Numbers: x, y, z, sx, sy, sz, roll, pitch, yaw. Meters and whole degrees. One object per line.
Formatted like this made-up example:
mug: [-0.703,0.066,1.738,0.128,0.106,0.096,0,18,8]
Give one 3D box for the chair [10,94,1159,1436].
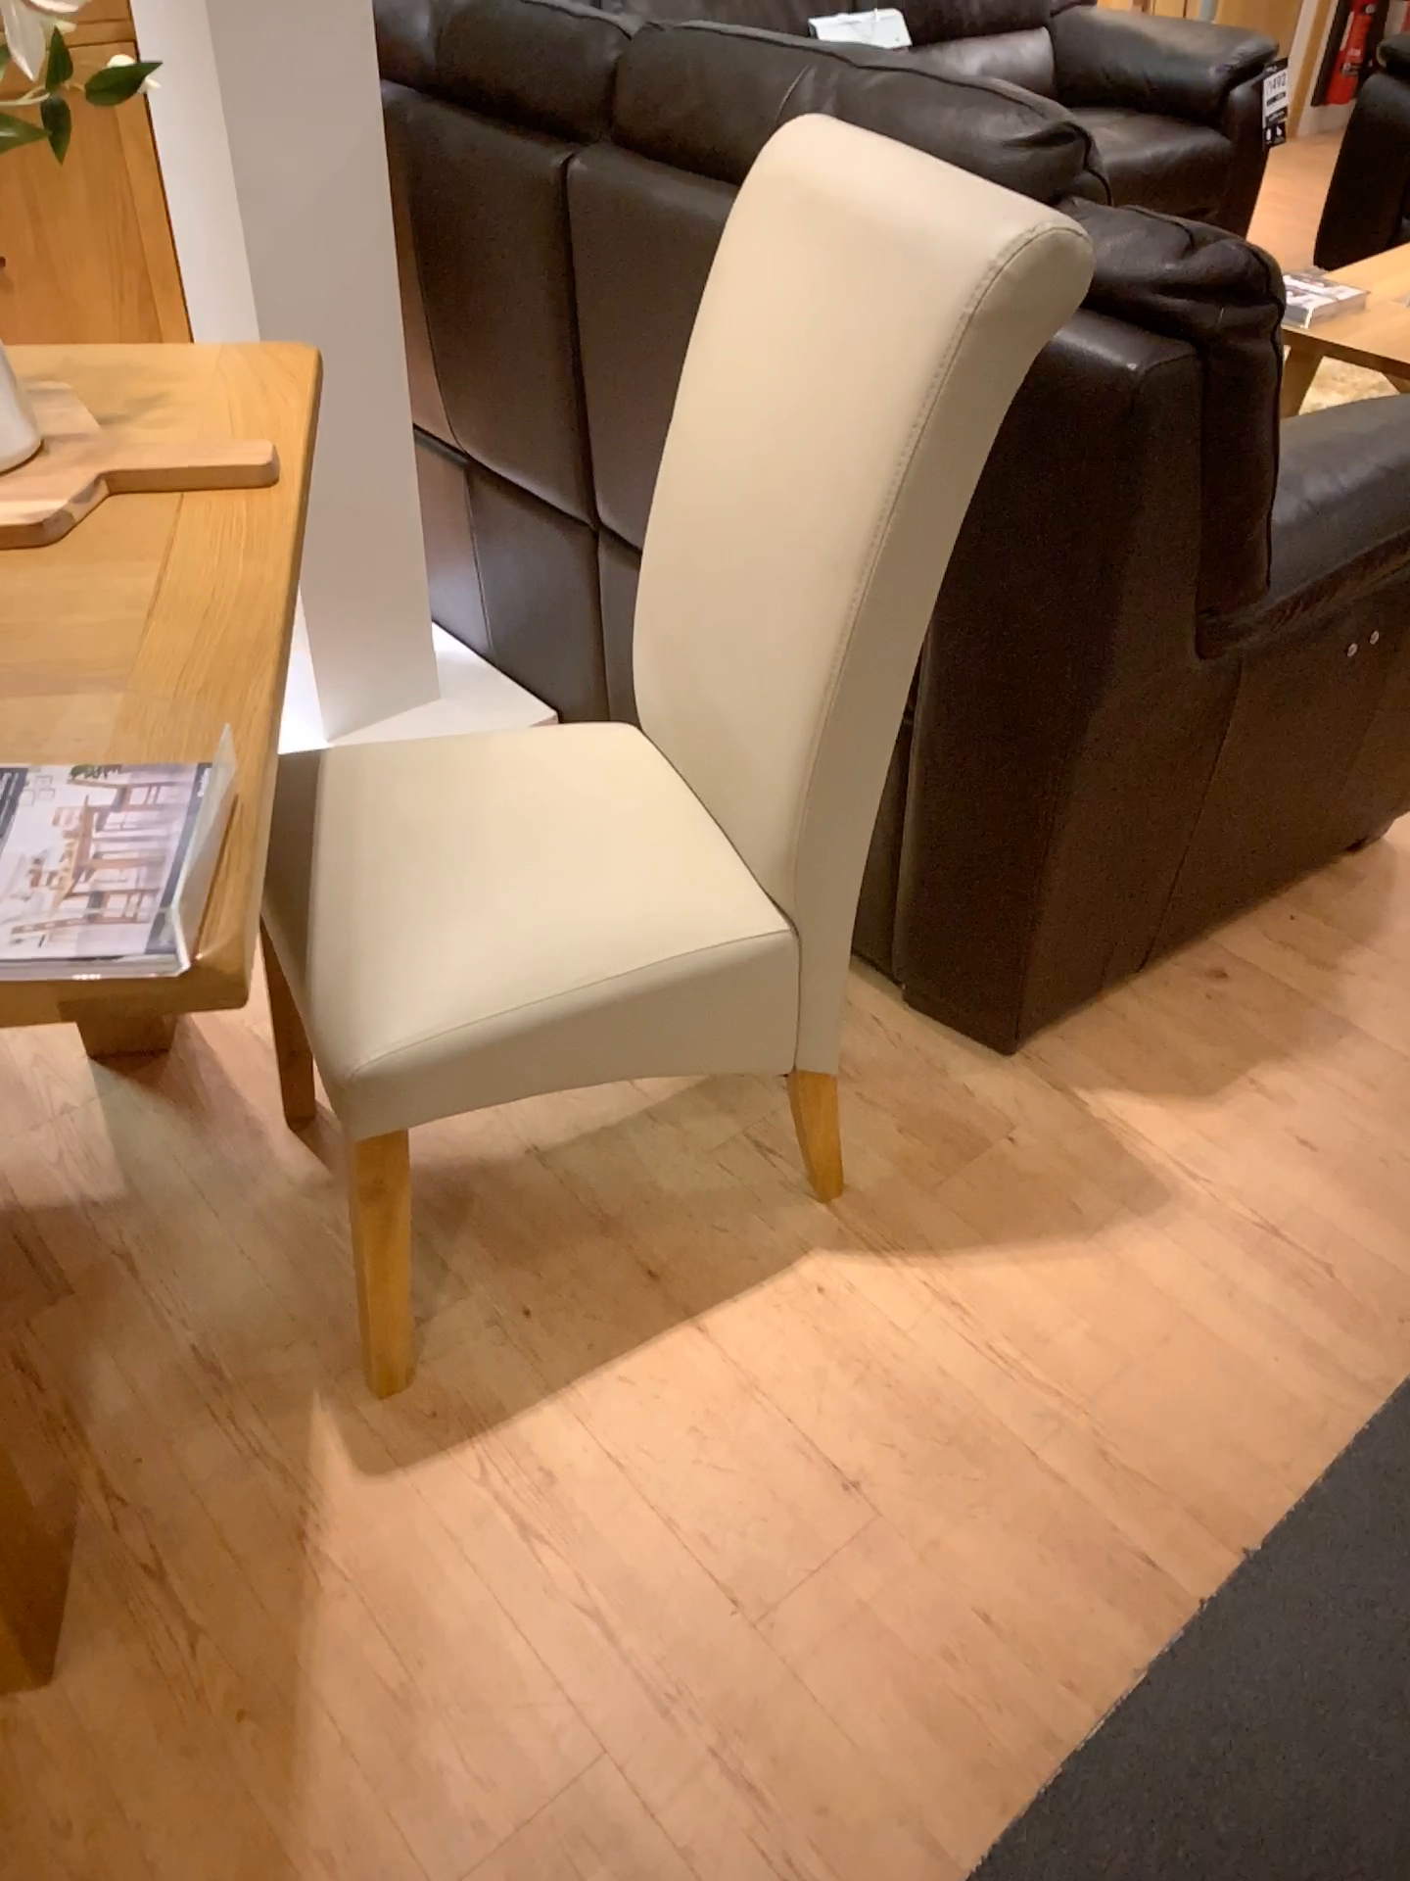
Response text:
chair: [-0.116,-0.140,1.254,0.635,0.943,0.479,-15,43,-20]
